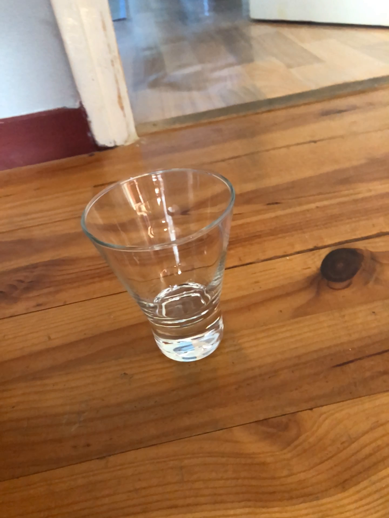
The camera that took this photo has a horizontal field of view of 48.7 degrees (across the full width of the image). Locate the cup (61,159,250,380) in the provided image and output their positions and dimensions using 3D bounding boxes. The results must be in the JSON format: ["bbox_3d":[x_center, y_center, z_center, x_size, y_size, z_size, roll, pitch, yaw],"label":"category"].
[{"bbox_3d":[-0.016,0.005,0.274,0.088,0.097,0.092,-6,36,4],"label":"cup"}]
